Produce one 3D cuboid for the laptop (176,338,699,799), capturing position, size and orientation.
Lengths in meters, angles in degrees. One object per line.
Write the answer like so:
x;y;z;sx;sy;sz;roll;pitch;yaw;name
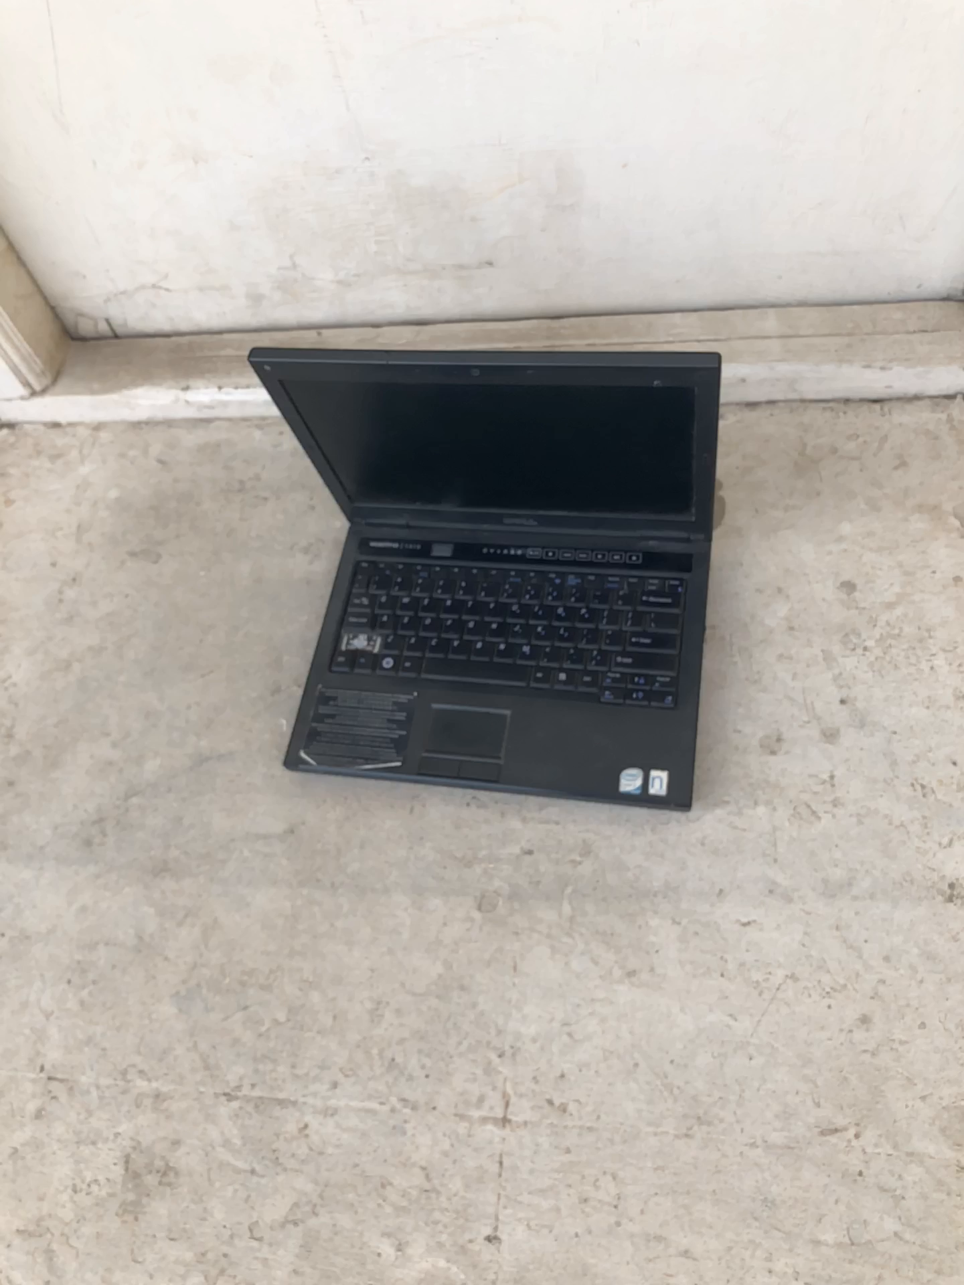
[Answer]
-0.007;-0.049;0.746;0.293;0.219;0.214;4;62;13;laptop
